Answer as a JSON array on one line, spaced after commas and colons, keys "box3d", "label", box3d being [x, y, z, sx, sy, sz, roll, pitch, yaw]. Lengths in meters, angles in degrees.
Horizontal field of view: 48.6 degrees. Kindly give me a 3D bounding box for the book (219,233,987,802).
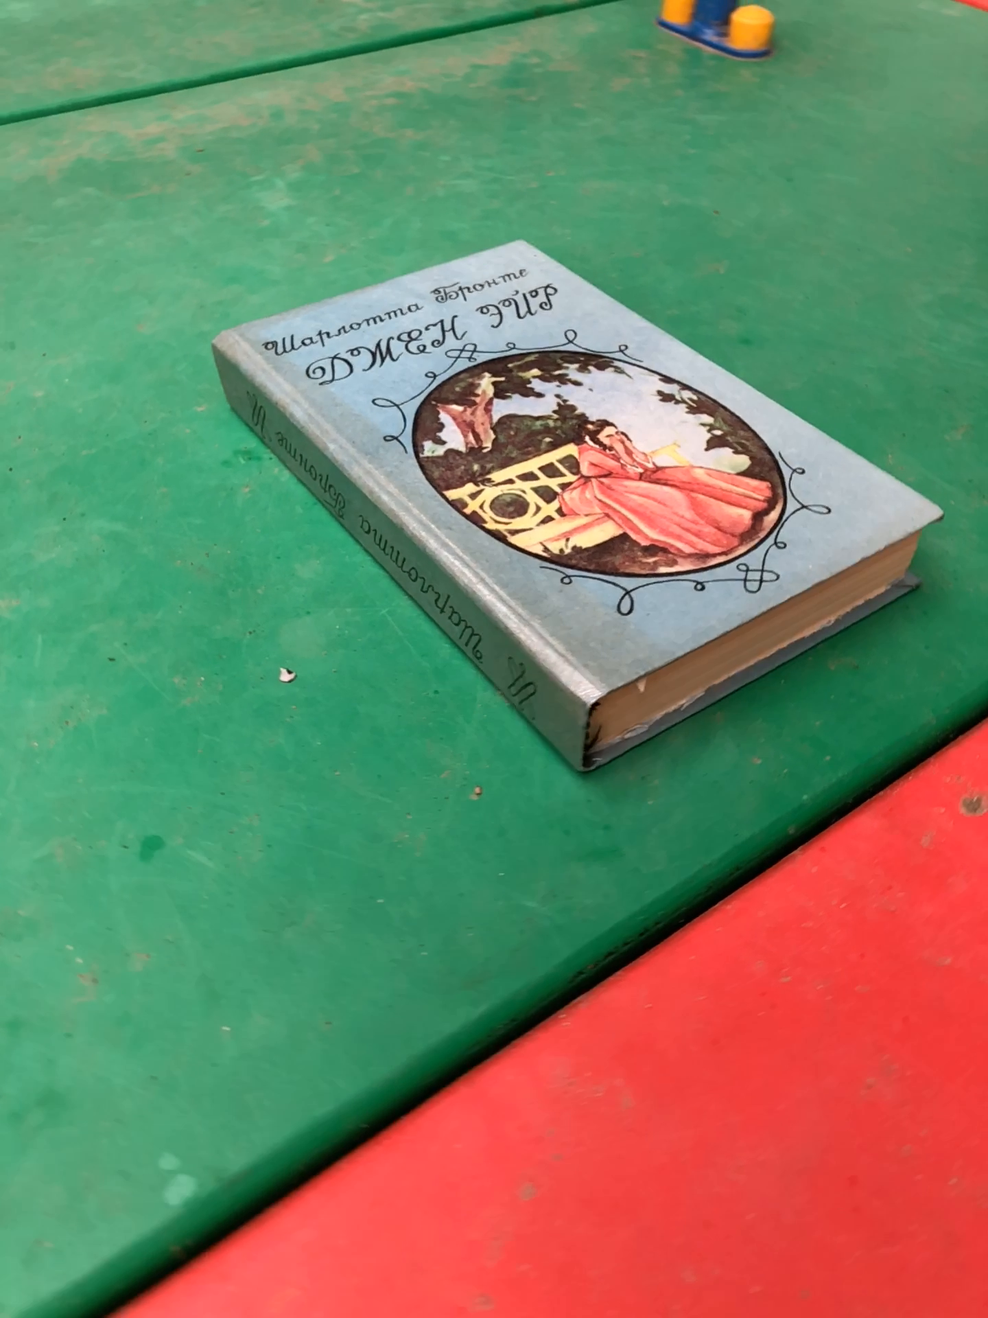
[{"box3d": [0.024, -0.062, 0.335, 0.135, 0.030, 0.196, -26, 53, -25], "label": "book"}]
